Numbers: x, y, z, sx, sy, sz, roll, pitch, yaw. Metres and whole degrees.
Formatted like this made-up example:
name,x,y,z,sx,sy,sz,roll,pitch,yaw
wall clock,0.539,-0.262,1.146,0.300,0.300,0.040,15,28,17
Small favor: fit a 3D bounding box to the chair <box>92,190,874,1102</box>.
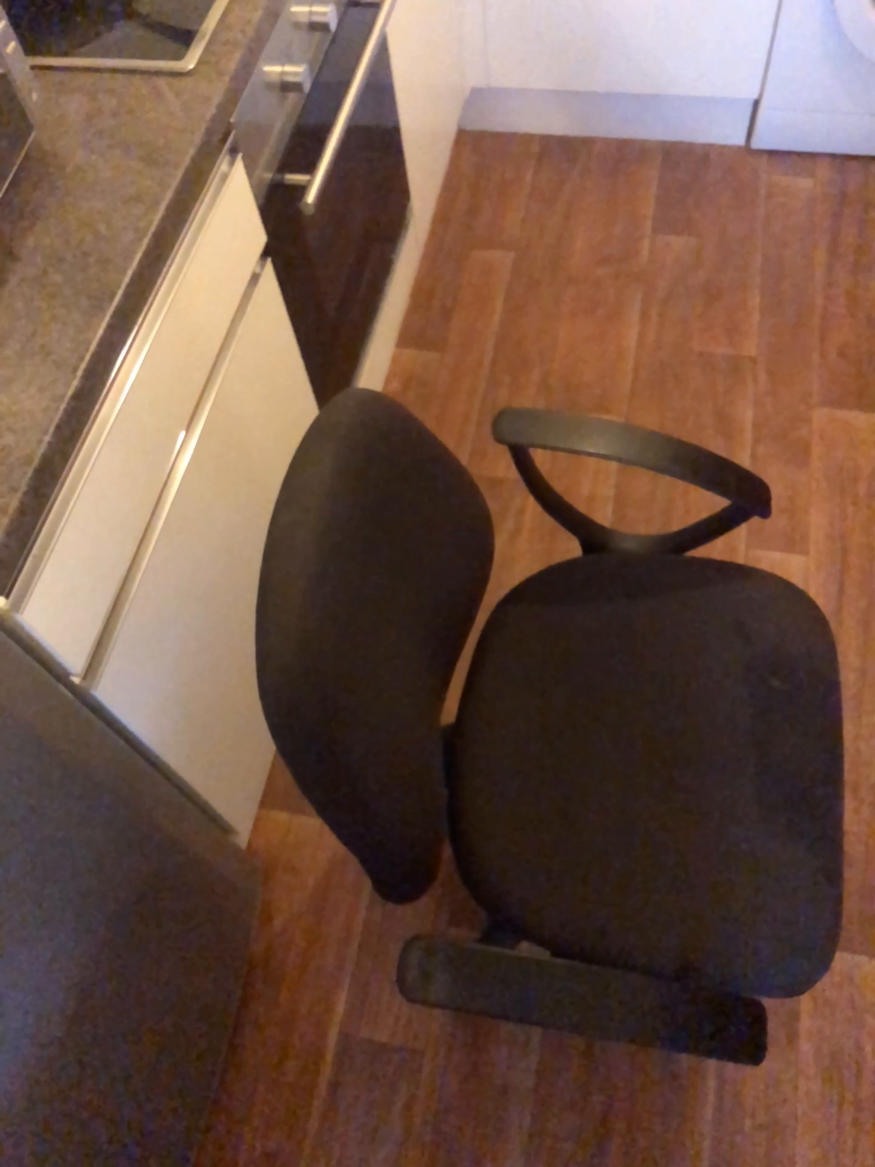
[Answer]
name,x,y,z,sx,sy,sz,roll,pitch,yaw
chair,0.192,0.155,1.094,0.642,0.883,0.639,6,62,9
